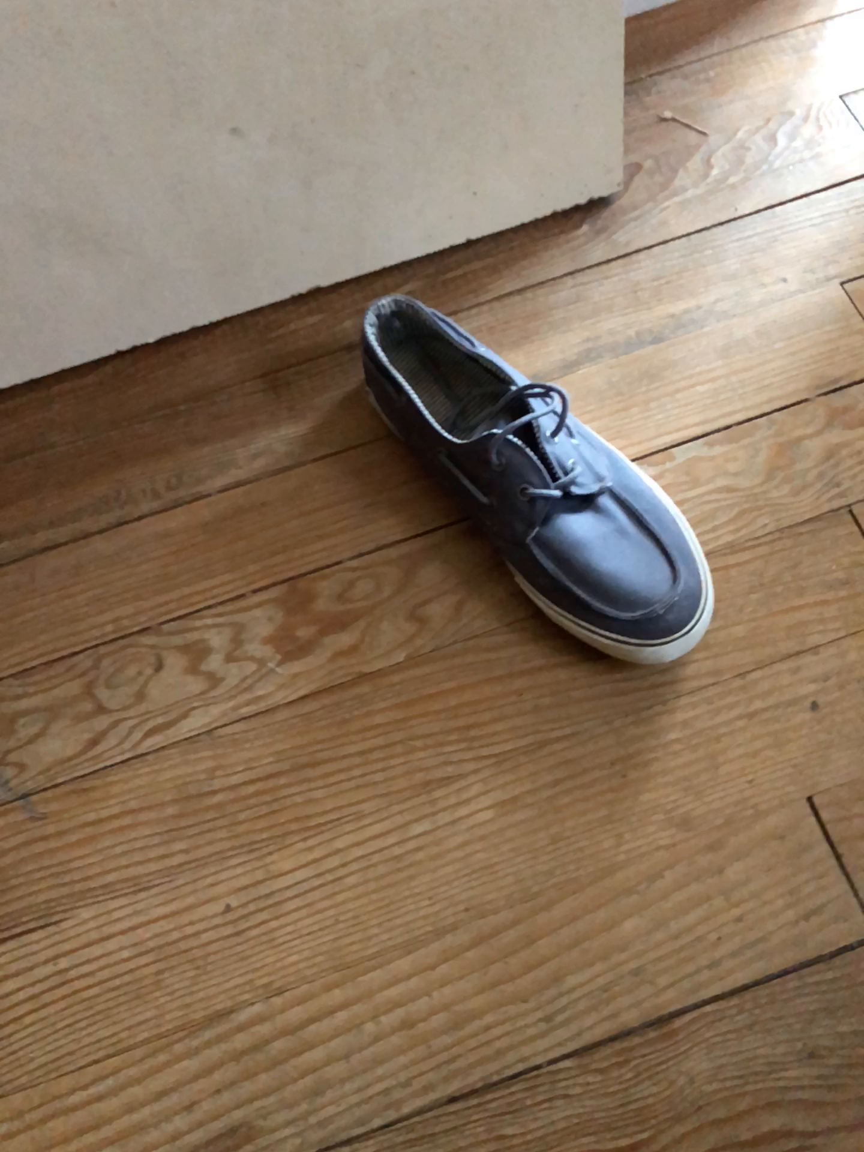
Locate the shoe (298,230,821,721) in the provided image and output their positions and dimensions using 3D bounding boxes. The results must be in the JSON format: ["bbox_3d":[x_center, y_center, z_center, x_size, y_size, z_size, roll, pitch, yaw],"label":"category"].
[{"bbox_3d":[0.058,-0.060,0.509,0.100,0.060,0.270,-41,71,-12],"label":"shoe"}]
